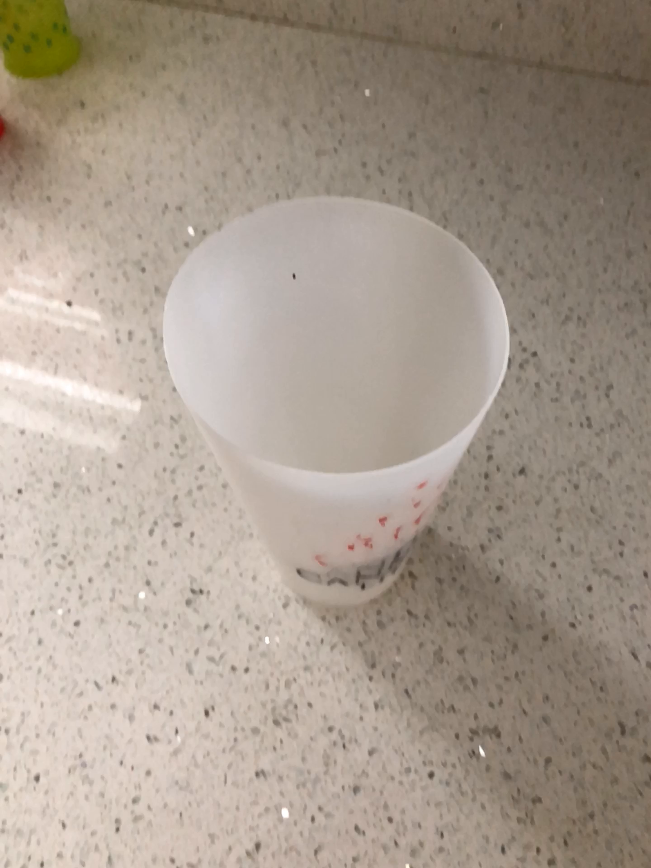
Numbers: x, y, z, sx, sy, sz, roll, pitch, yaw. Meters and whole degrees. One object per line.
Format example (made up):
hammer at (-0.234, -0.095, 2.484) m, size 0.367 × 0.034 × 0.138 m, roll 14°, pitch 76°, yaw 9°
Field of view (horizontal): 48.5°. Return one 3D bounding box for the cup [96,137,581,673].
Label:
cup at (0.003, 0.004, 0.268) m, size 0.096 × 0.166 × 0.094 m, roll -1°, pitch 61°, yaw 2°
